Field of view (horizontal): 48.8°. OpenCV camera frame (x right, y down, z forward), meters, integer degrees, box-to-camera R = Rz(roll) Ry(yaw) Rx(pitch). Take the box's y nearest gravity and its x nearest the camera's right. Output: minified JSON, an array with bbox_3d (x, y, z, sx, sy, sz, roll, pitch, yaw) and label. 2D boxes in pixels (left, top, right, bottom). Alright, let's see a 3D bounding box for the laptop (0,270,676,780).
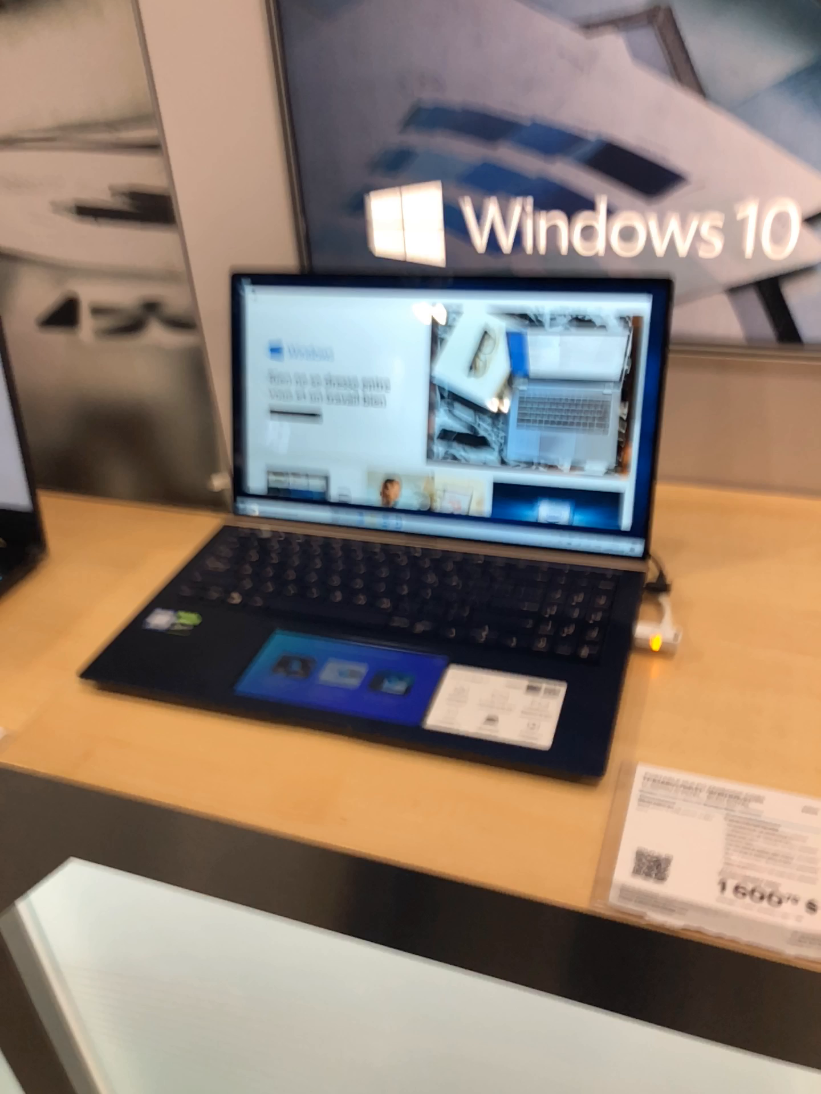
[{"bbox_3d":[-0.017,-0.046,0.598,0.337,0.183,0.274,7,34,18],"label":"laptop"}]
